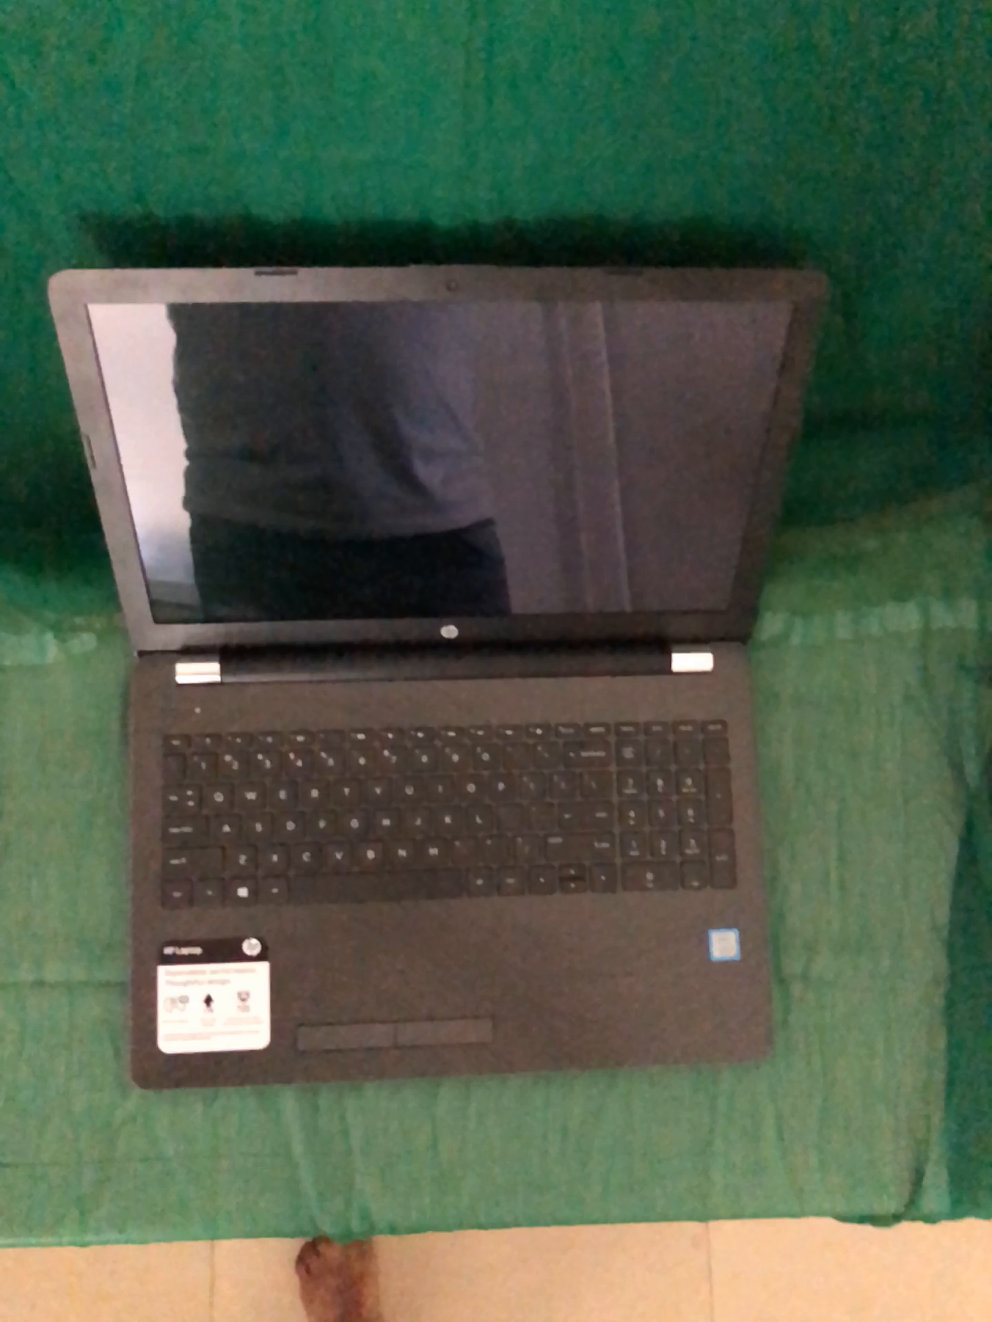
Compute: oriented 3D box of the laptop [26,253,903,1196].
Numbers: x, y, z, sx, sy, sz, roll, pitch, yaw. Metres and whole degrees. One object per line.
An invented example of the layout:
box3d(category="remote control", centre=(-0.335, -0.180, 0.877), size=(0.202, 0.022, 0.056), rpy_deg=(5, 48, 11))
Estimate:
box3d(category="laptop", centre=(-0.019, 0.025, 0.583), size=(0.378, 0.180, 0.414), rpy_deg=(-1, 83, -4))
